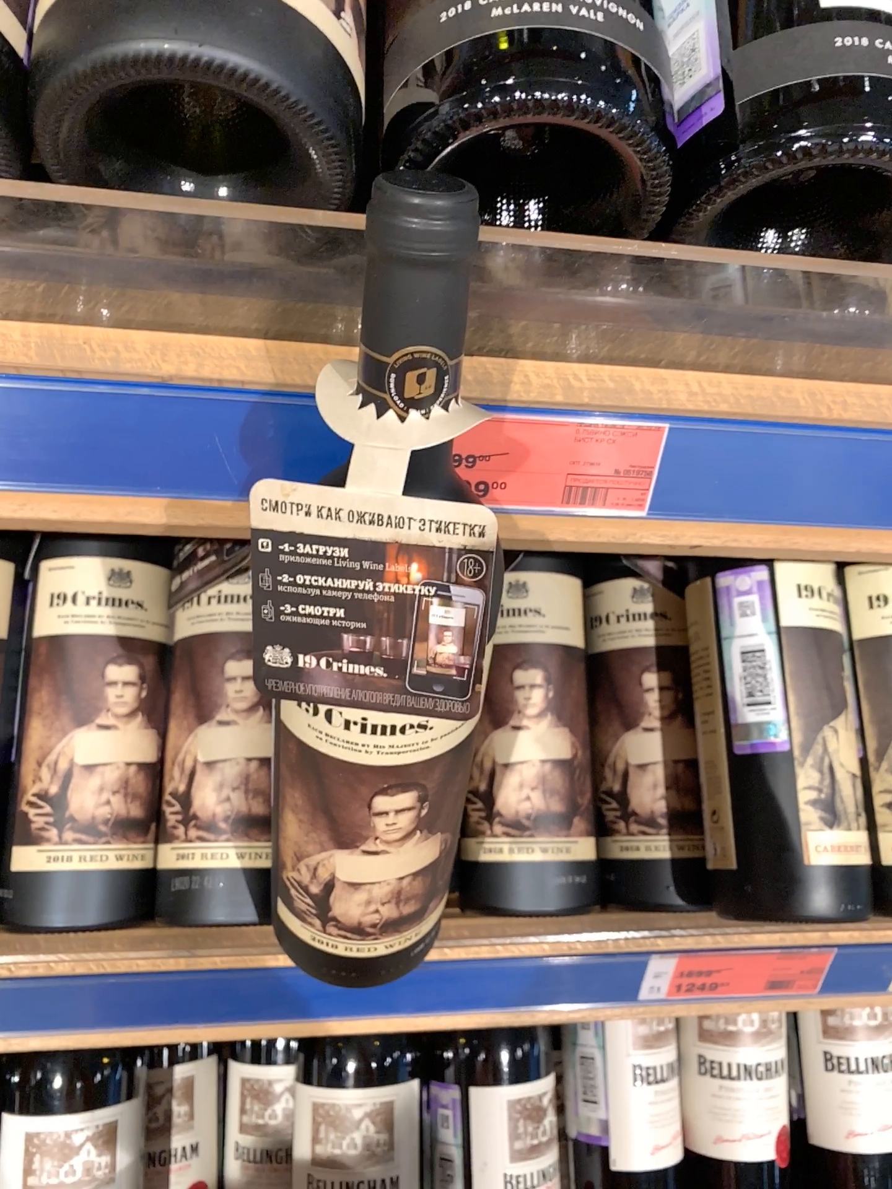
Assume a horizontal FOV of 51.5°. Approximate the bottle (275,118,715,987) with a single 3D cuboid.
[{"bbox_3d":[-0.010,0.015,0.318,0.086,0.299,0.082,6,38,-5],"label":"bottle"}]
